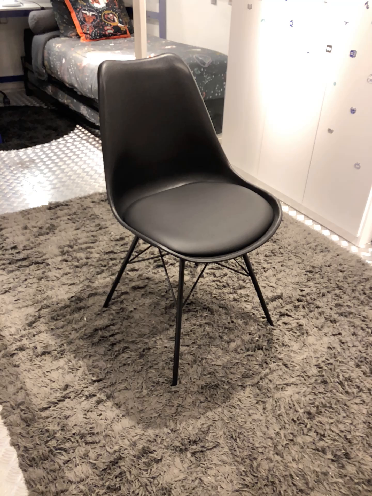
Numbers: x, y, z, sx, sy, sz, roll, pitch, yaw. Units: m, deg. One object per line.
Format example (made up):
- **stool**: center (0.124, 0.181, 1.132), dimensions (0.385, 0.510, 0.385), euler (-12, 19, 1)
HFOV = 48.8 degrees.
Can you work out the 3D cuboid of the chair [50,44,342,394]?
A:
- **chair**: center (-0.004, -0.121, 1.253), dimensions (0.522, 0.804, 0.533), euler (-20, 40, -29)
